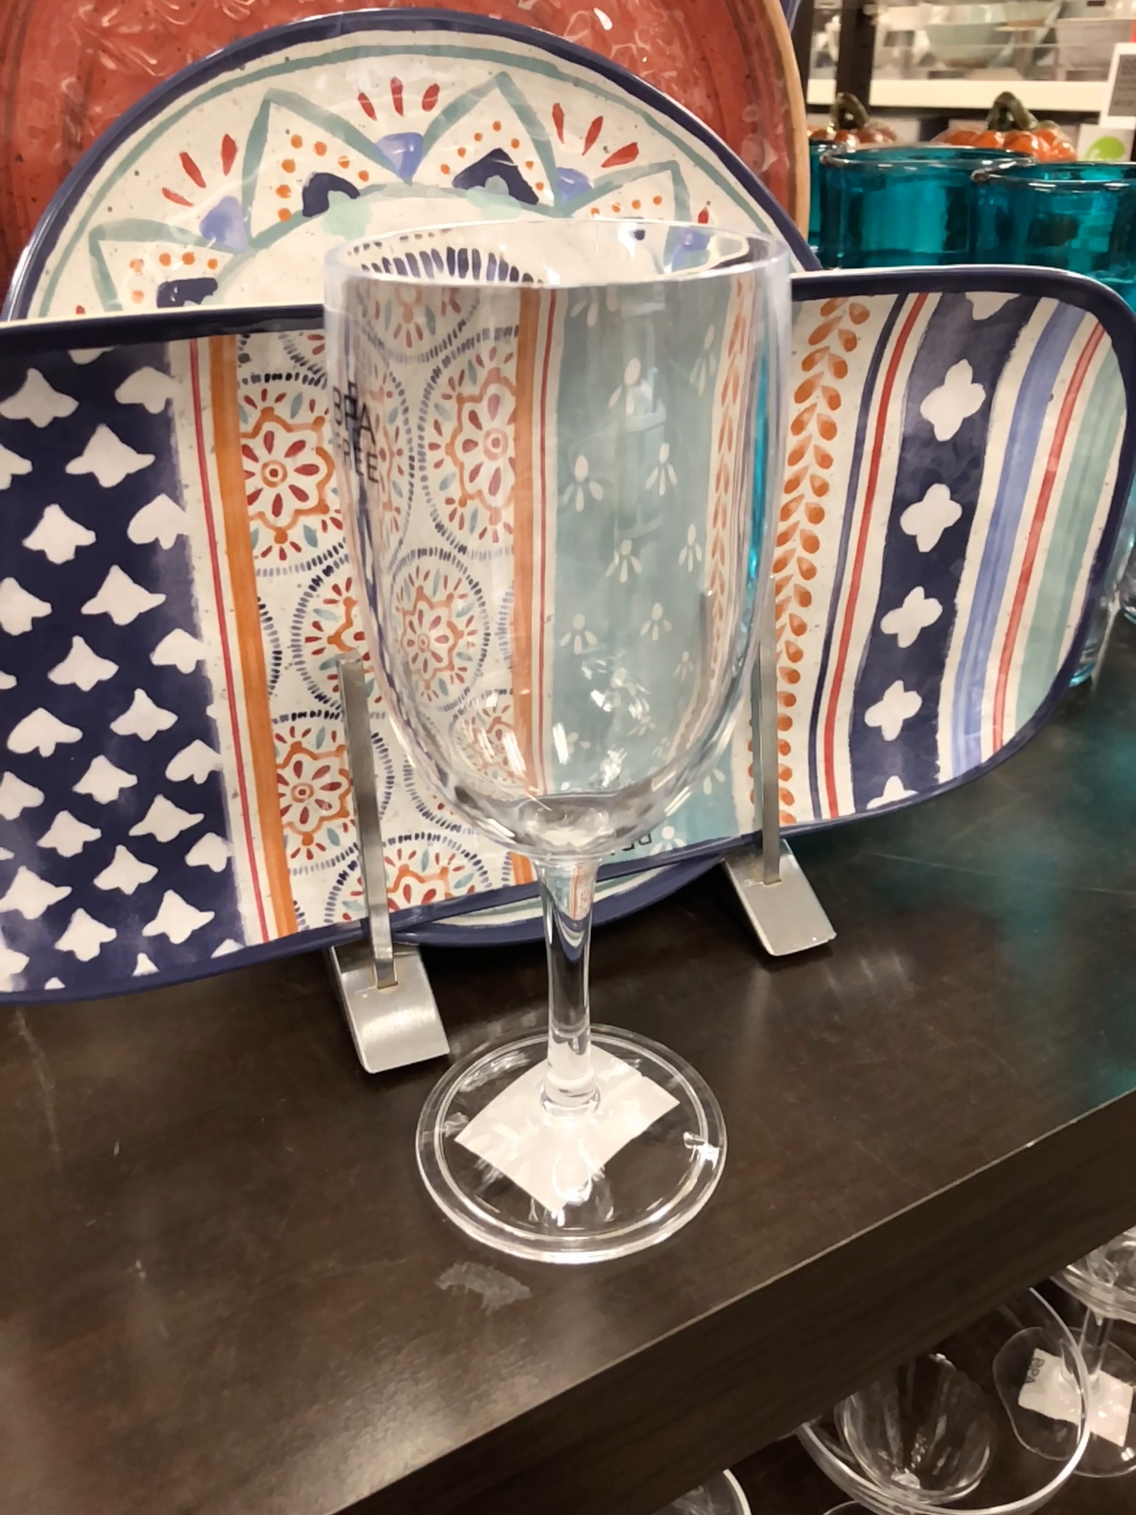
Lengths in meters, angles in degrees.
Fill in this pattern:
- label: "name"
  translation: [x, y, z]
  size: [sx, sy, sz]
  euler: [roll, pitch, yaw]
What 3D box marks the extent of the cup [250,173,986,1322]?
- label: "cup"
  translation: [0.006, -0.004, 0.256]
  size: [0.090, 0.200, 0.085]
  euler: [-1, 29, 0]
